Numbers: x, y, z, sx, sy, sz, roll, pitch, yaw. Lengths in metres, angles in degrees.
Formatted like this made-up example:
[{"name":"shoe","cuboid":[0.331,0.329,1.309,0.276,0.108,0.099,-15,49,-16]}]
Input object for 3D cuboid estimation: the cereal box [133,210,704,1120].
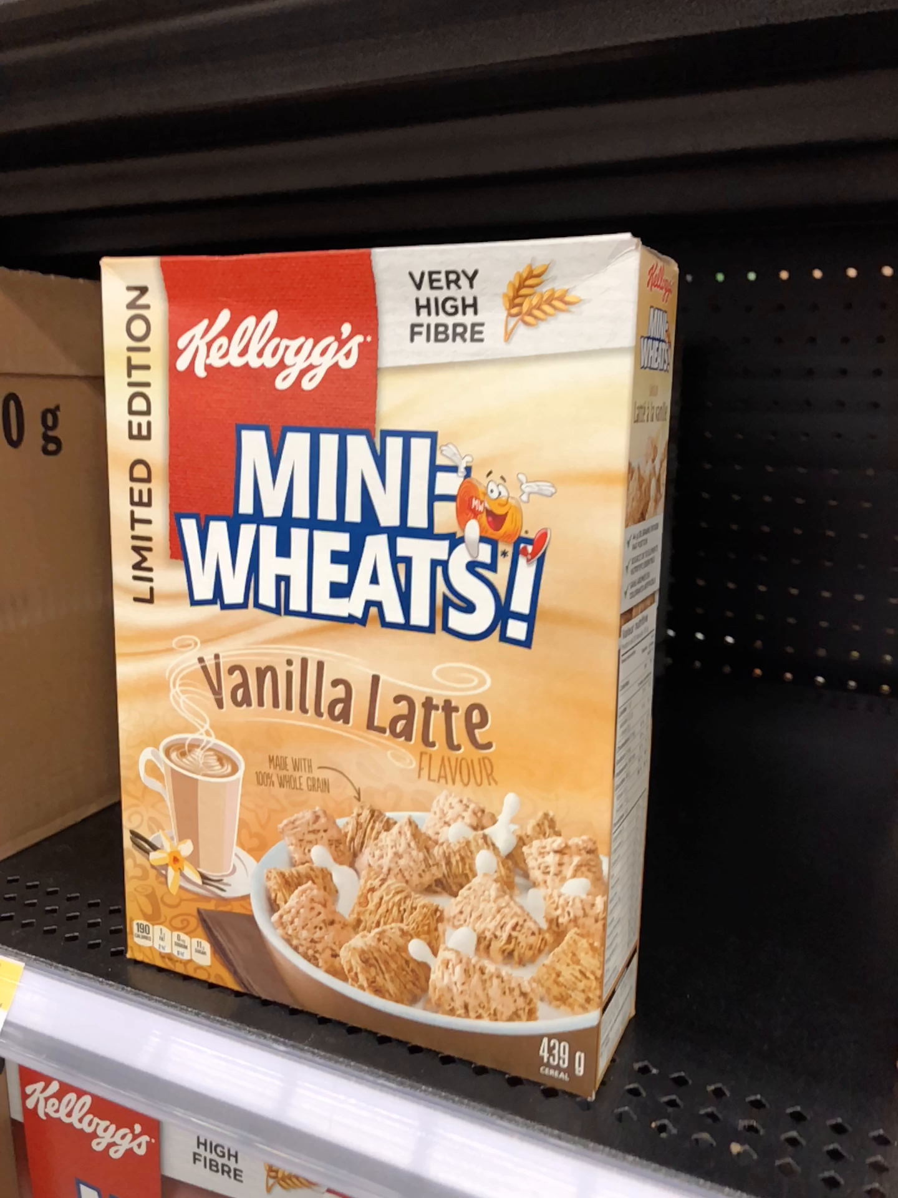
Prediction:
[{"name":"cereal box","cuboid":[-0.016,0.017,0.364,0.190,0.279,0.060,5,10,25]}]
